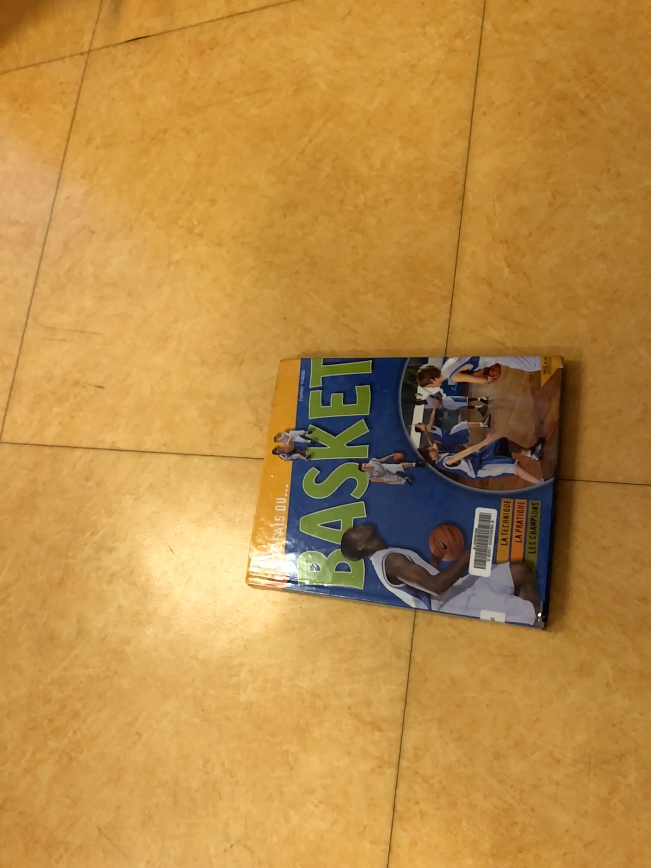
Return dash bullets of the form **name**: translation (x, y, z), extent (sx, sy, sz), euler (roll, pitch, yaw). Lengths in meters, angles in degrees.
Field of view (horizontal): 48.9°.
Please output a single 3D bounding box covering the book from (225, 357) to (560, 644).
- **book**: translation (0.048, 0.041, 0.583), extent (0.257, 0.020, 0.210), euler (2, 77, 26)
